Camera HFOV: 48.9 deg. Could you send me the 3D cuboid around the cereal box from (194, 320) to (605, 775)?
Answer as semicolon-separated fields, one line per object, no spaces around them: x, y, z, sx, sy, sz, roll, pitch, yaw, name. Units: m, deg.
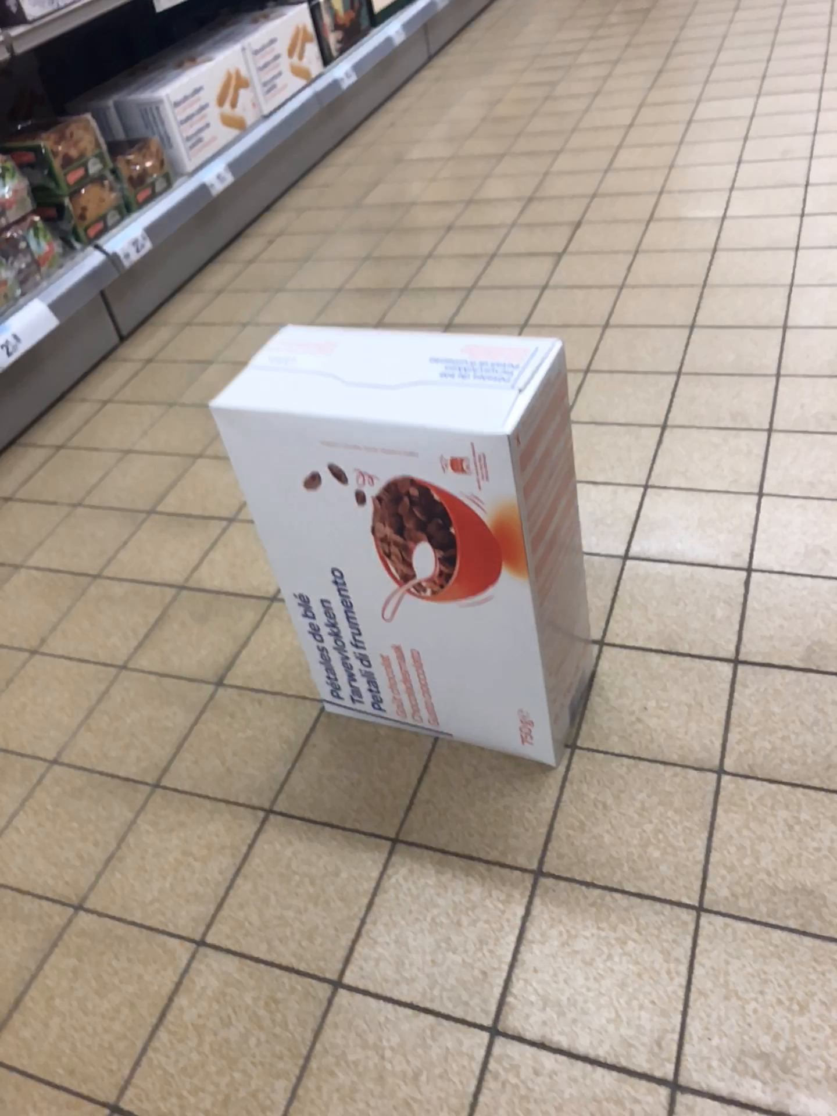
0.007;-0.002;0.617;0.200;0.288;0.101;7;44;23;cereal box
